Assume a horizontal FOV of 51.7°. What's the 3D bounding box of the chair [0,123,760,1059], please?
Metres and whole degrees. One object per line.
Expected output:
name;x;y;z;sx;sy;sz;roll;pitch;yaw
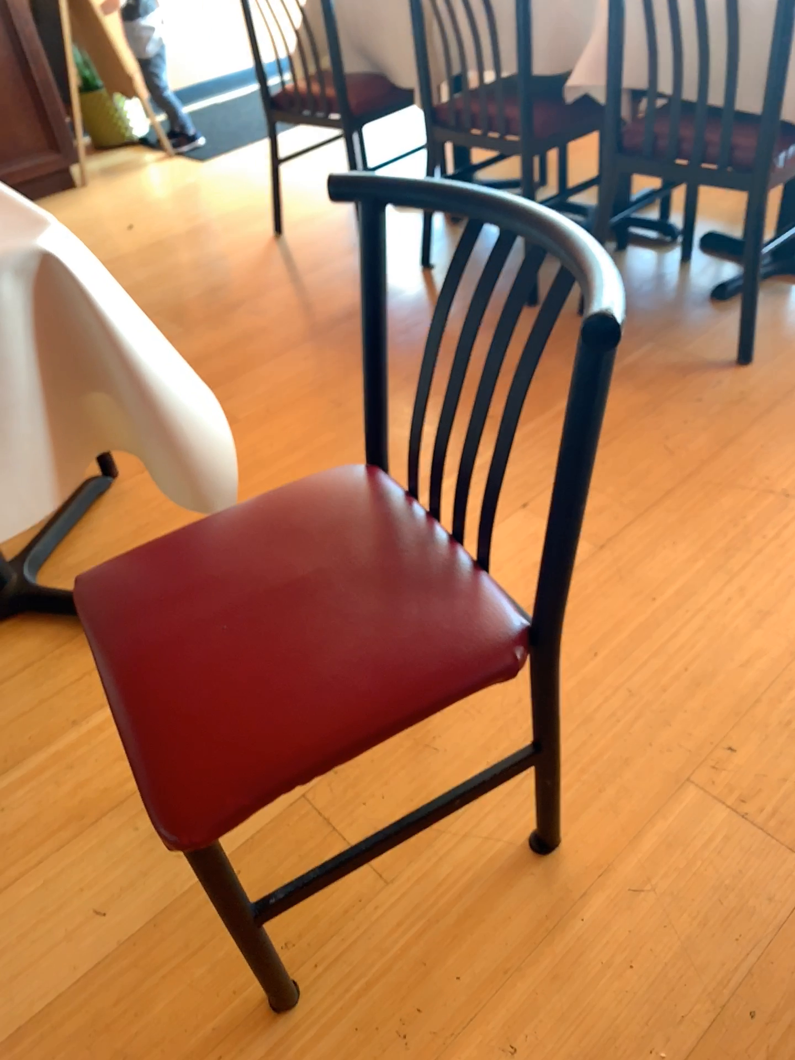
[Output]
chair;-0.067;0.064;0.902;0.570;0.726;0.483;-26;45;-18
